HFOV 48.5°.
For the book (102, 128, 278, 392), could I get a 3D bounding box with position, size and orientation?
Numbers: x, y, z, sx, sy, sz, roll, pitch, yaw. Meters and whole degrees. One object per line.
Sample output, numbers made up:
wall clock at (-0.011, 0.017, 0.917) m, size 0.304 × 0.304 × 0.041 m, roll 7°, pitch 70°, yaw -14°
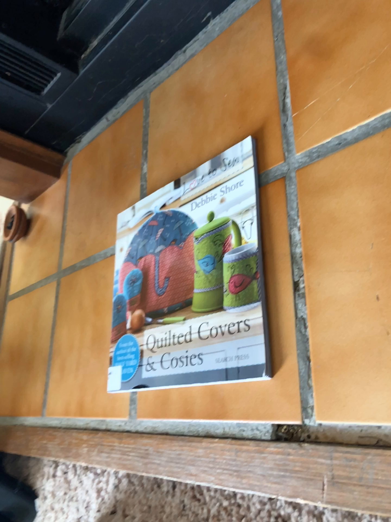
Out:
book at (-0.021, 0.013, 0.440) m, size 0.226 × 0.015 × 0.219 m, roll -20°, pitch 62°, yaw 43°
